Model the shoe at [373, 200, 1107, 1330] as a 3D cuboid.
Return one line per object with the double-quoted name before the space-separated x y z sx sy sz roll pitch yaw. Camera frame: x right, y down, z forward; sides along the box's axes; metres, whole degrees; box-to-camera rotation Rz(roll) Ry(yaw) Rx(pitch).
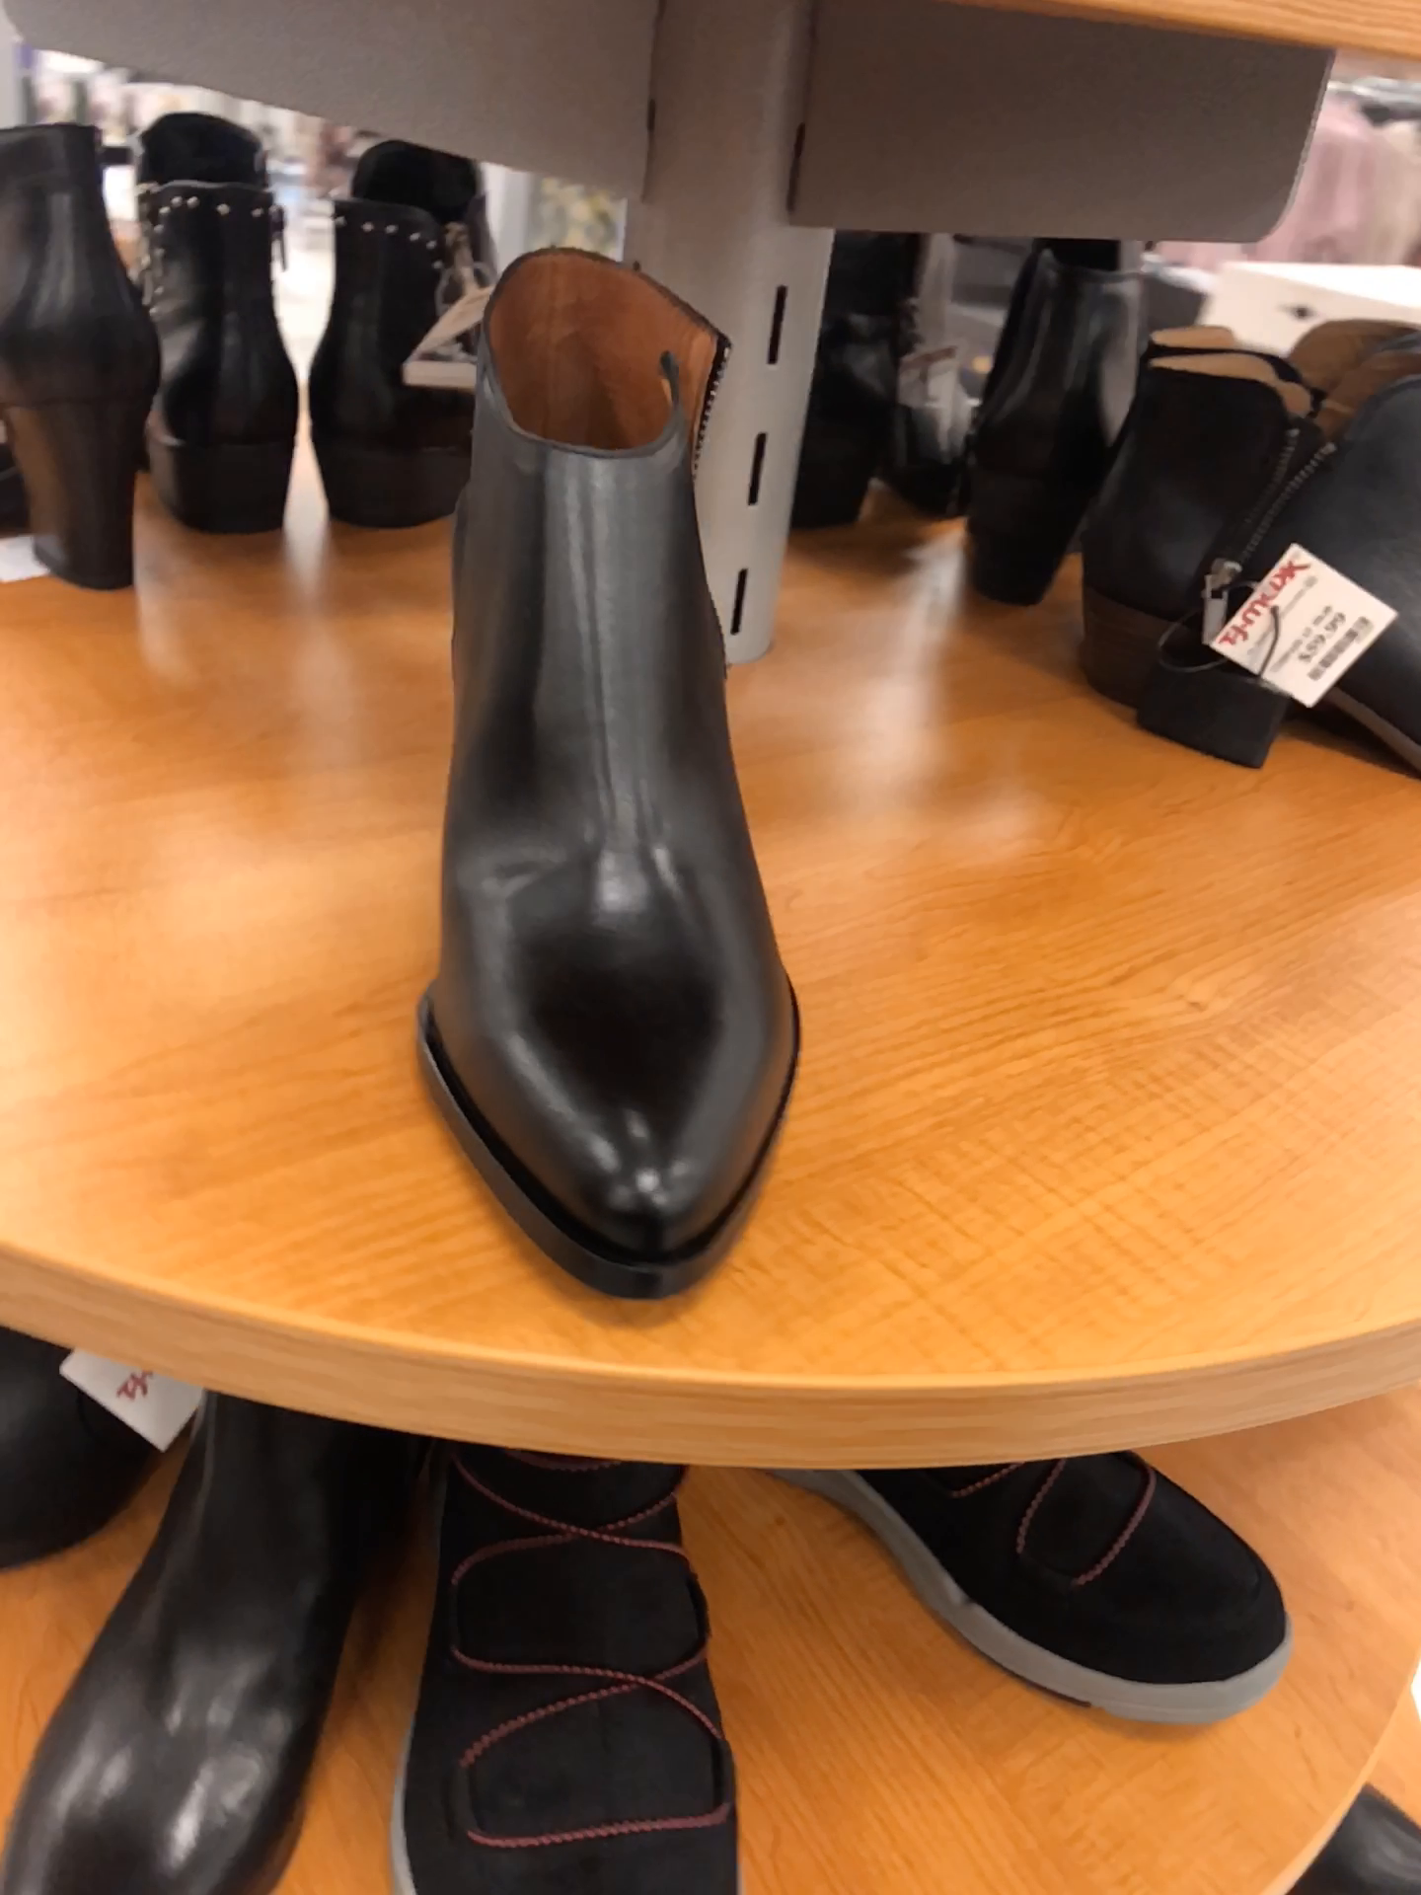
"shoe" -0.025 -0.065 0.367 0.101 0.156 0.259 1 32 -13
